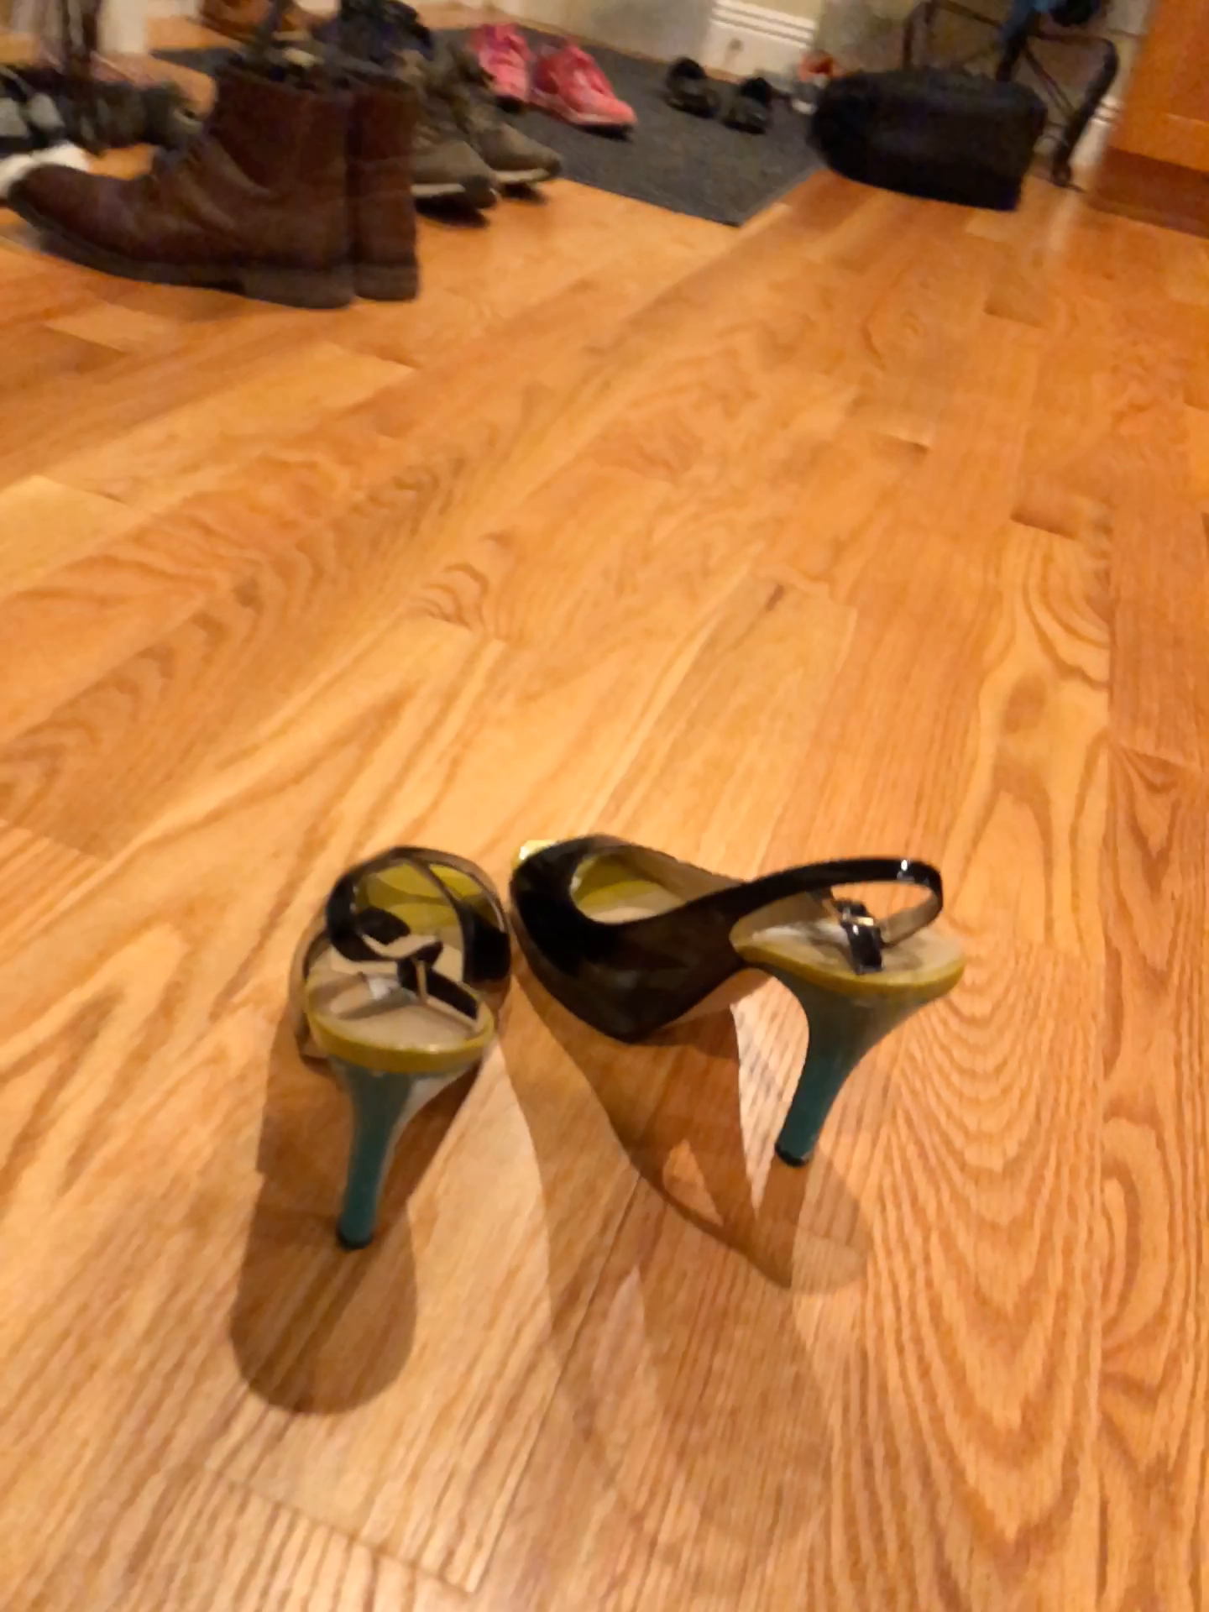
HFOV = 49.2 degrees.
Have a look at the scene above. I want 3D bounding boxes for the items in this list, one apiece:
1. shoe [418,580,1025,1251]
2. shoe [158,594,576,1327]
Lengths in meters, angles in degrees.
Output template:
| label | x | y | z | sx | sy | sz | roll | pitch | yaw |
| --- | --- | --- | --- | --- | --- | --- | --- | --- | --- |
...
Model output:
| label | x | y | z | sx | sy | sz | roll | pitch | yaw |
| --- | --- | --- | --- | --- | --- | --- | --- | --- | --- |
| shoe | 0.026 | 0.028 | 0.481 | 0.085 | 0.131 | 0.202 | -15 | 44 | -35 |
| shoe | -0.070 | 0.038 | 0.435 | 0.085 | 0.121 | 0.205 | 11 | 35 | -3 |
